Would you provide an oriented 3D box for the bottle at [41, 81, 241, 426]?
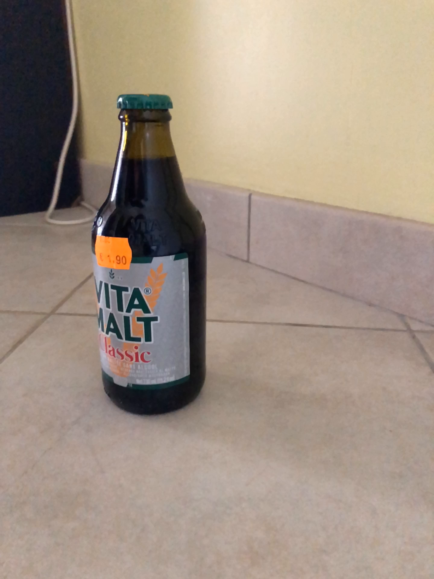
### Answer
[{"bbox_3d":[-0.036,-0.024,0.271,0.070,0.169,0.070,0,22,0],"label":"bottle"}]
